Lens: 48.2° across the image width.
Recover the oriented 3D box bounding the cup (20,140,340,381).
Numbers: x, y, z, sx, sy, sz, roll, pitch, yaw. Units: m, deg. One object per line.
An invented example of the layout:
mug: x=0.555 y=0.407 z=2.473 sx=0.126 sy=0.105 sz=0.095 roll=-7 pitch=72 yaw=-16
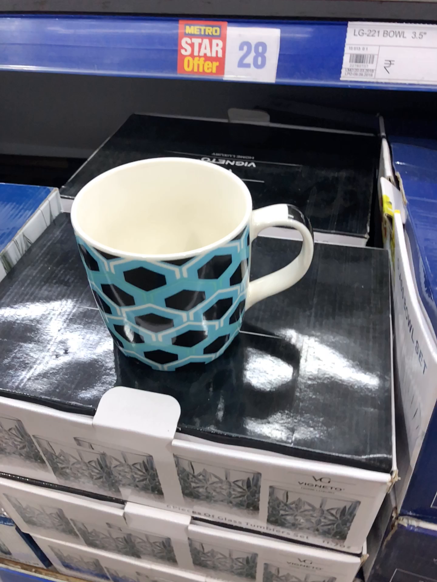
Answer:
cup: x=-0.014 y=-0.016 z=0.262 sx=0.130 sy=0.090 sz=0.090 roll=-1 pitch=43 yaw=2
